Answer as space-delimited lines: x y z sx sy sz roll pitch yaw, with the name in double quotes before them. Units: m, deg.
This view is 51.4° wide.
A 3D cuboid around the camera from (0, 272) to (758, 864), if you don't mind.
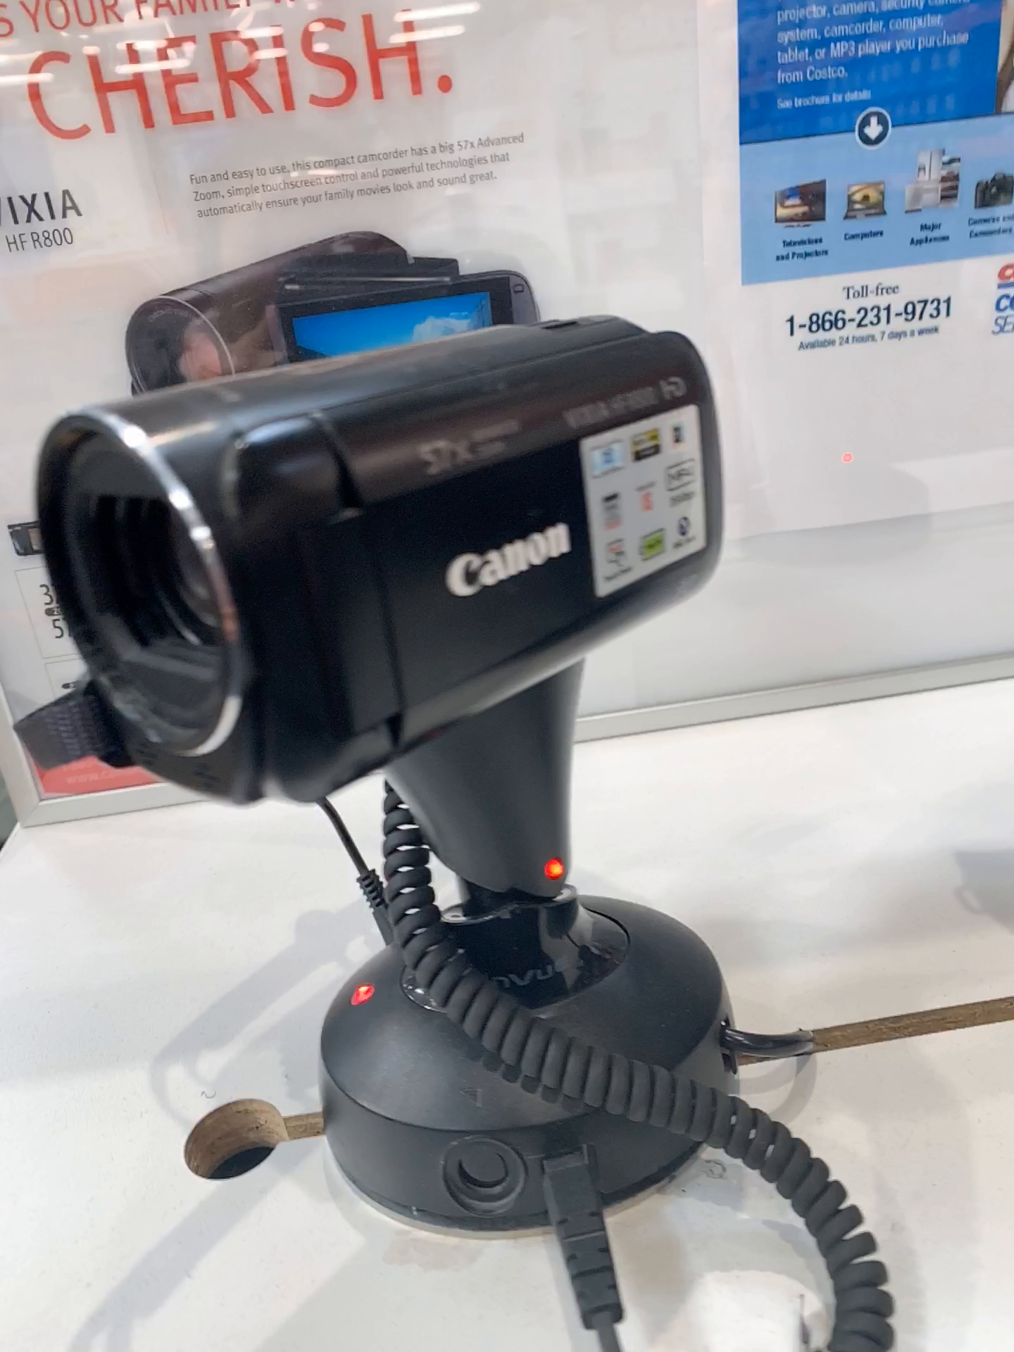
"camera" -0.015 -0.029 0.170 0.050 0.050 0.125 15 33 41
